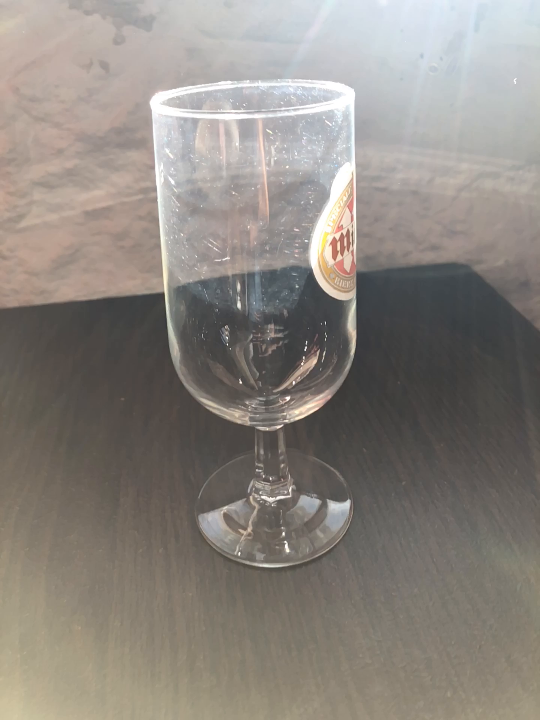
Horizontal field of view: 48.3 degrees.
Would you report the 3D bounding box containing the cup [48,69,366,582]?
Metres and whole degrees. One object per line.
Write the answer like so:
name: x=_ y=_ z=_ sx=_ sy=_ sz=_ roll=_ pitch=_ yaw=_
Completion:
cup: x=-0.009 y=-0.010 z=0.207 sx=0.070 sy=0.155 sz=0.068 roll=-3 pitch=30 yaw=1
